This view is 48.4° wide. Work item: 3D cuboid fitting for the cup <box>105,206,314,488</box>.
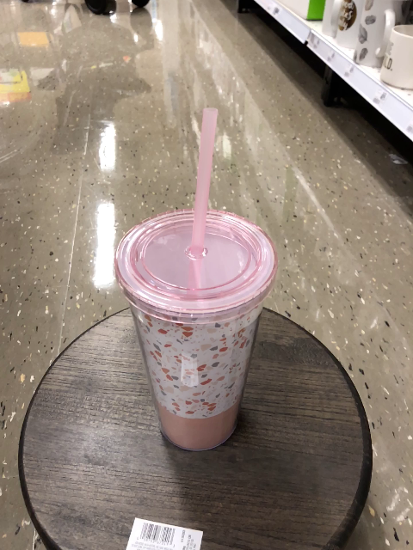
[{"bbox_3d":[-0.003,0.049,0.306,0.090,0.149,0.090,0,40,0],"label":"cup"}]
